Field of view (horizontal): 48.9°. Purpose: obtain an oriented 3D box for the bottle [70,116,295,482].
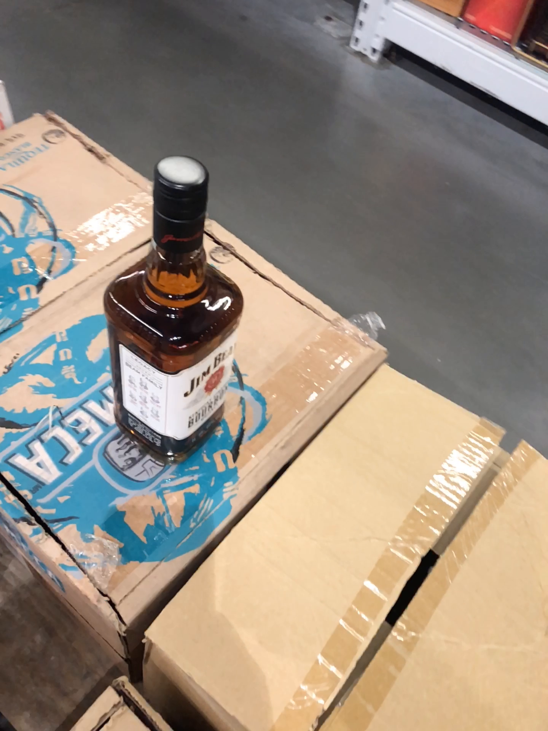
[{"bbox_3d":[-0.067,-0.028,0.440,0.086,0.258,0.090,5,54,-7],"label":"bottle"}]
